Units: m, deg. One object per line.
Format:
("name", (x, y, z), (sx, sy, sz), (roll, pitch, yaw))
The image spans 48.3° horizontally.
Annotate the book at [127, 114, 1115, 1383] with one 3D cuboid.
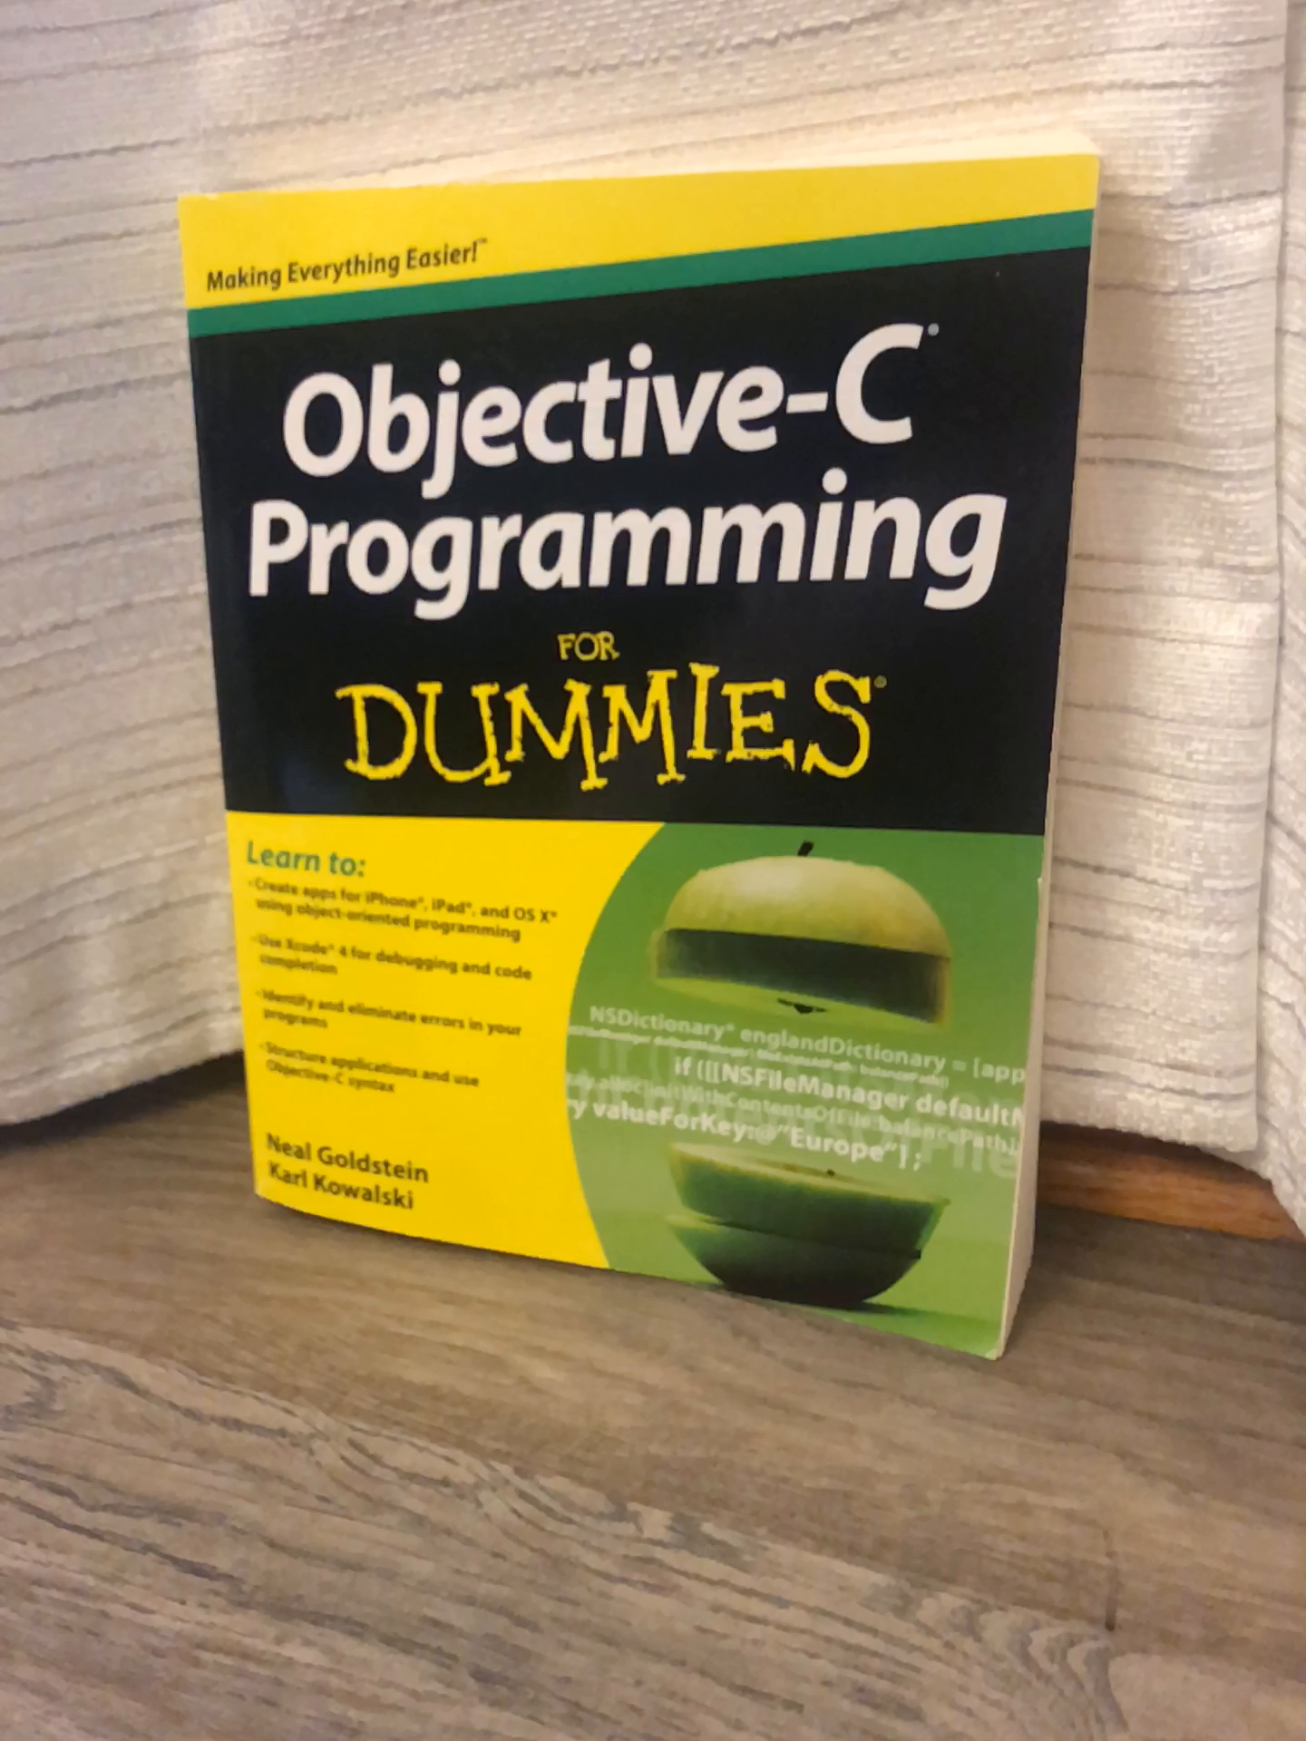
("book", (-0.009, -0.020, 0.303), (0.183, 0.230, 0.033), (5, 18, 19))
